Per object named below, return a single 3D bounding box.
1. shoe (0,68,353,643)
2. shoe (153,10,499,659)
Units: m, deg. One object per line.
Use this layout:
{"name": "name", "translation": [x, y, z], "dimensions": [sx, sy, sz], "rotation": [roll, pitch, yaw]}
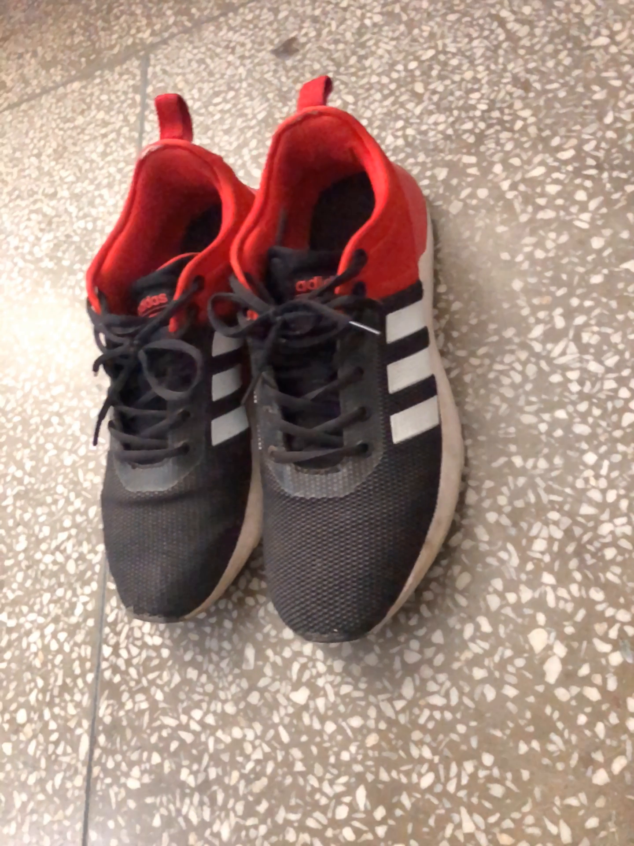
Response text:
{"name": "shoe", "translation": [-0.075, -0.034, 0.445], "dimensions": [0.130, 0.140, 0.310], "rotation": [-3, 69, 24]}
{"name": "shoe", "translation": [0.026, -0.041, 0.406], "dimensions": [0.130, 0.140, 0.320], "rotation": [-4, 68, 23]}
